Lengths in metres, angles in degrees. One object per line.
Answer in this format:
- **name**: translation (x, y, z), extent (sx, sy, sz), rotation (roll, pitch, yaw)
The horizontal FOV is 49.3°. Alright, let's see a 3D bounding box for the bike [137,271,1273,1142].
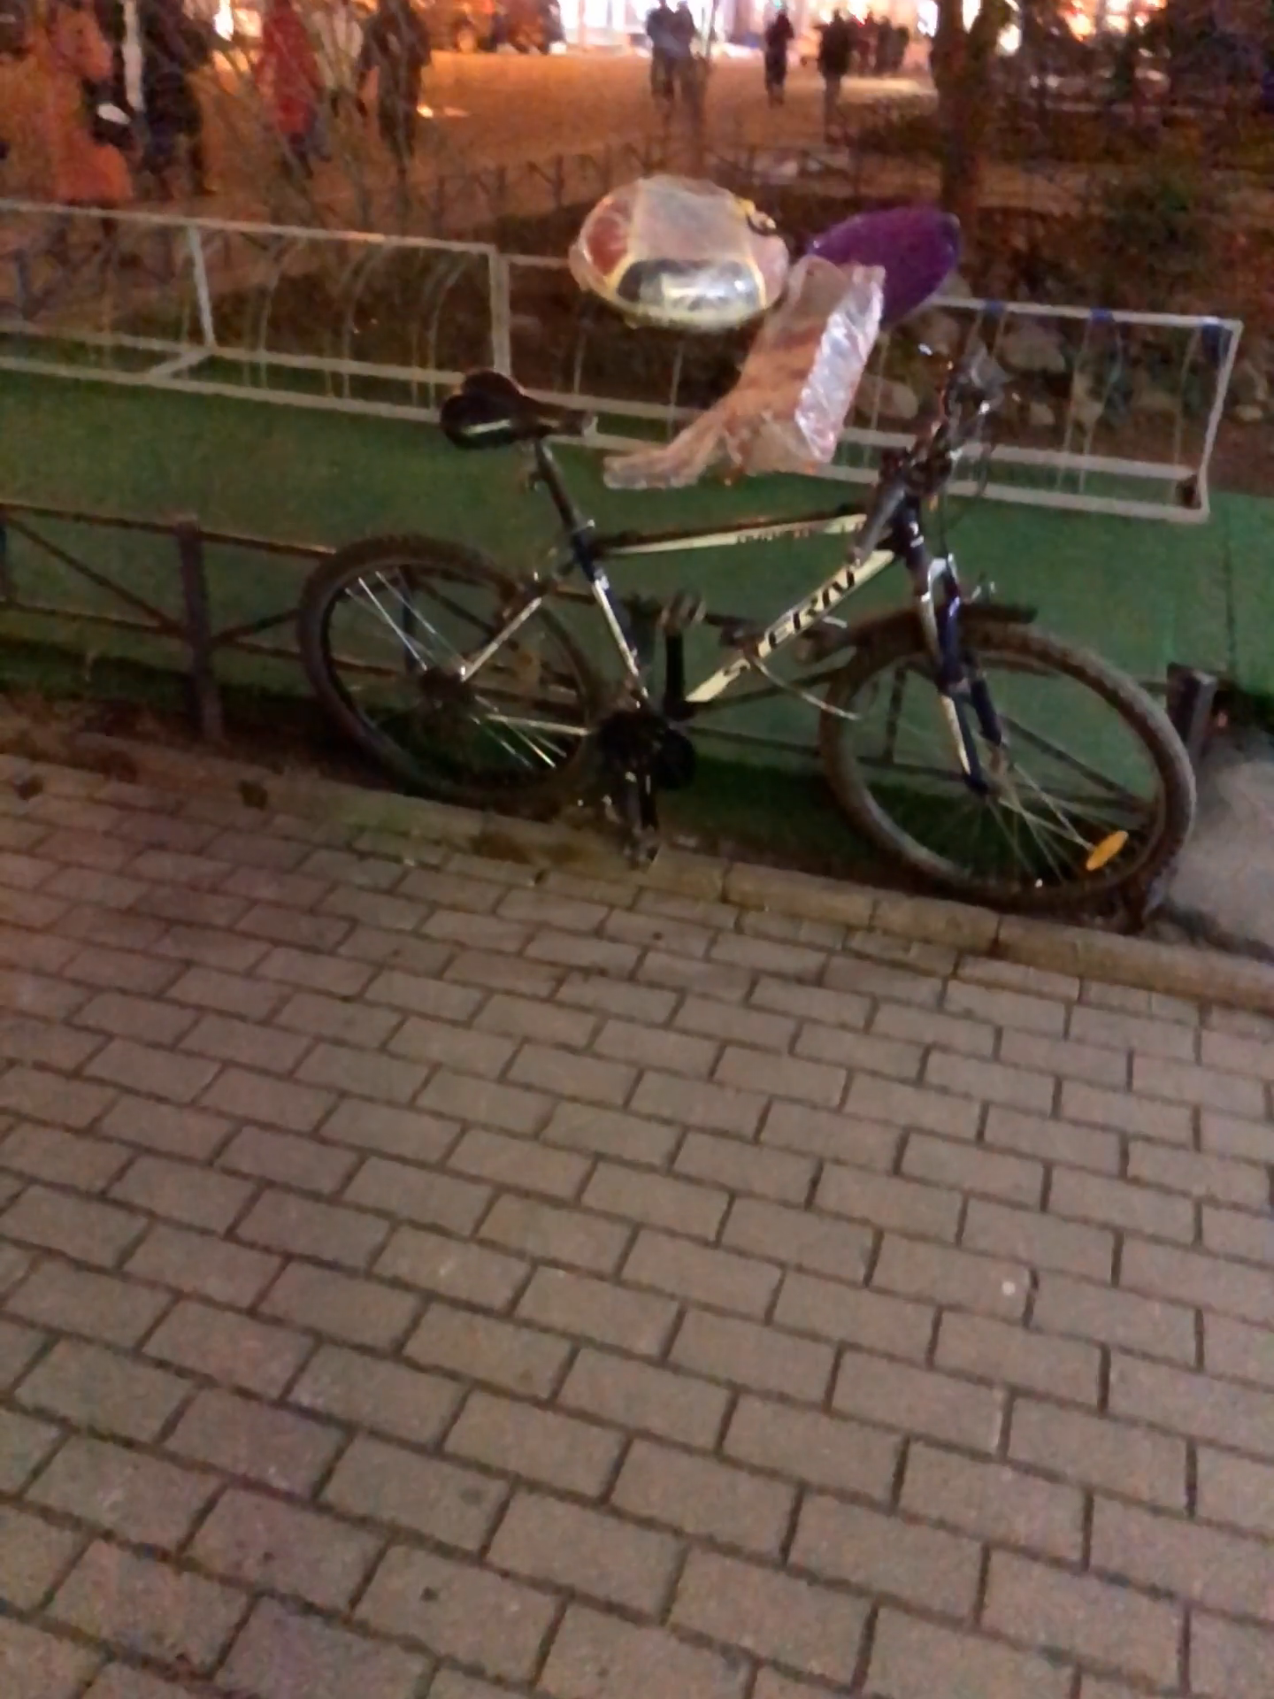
- **bike**: translation (0.091, -0.274, 2.080), extent (1.457, 0.883, 0.532), rotation (14, 31, 15)
